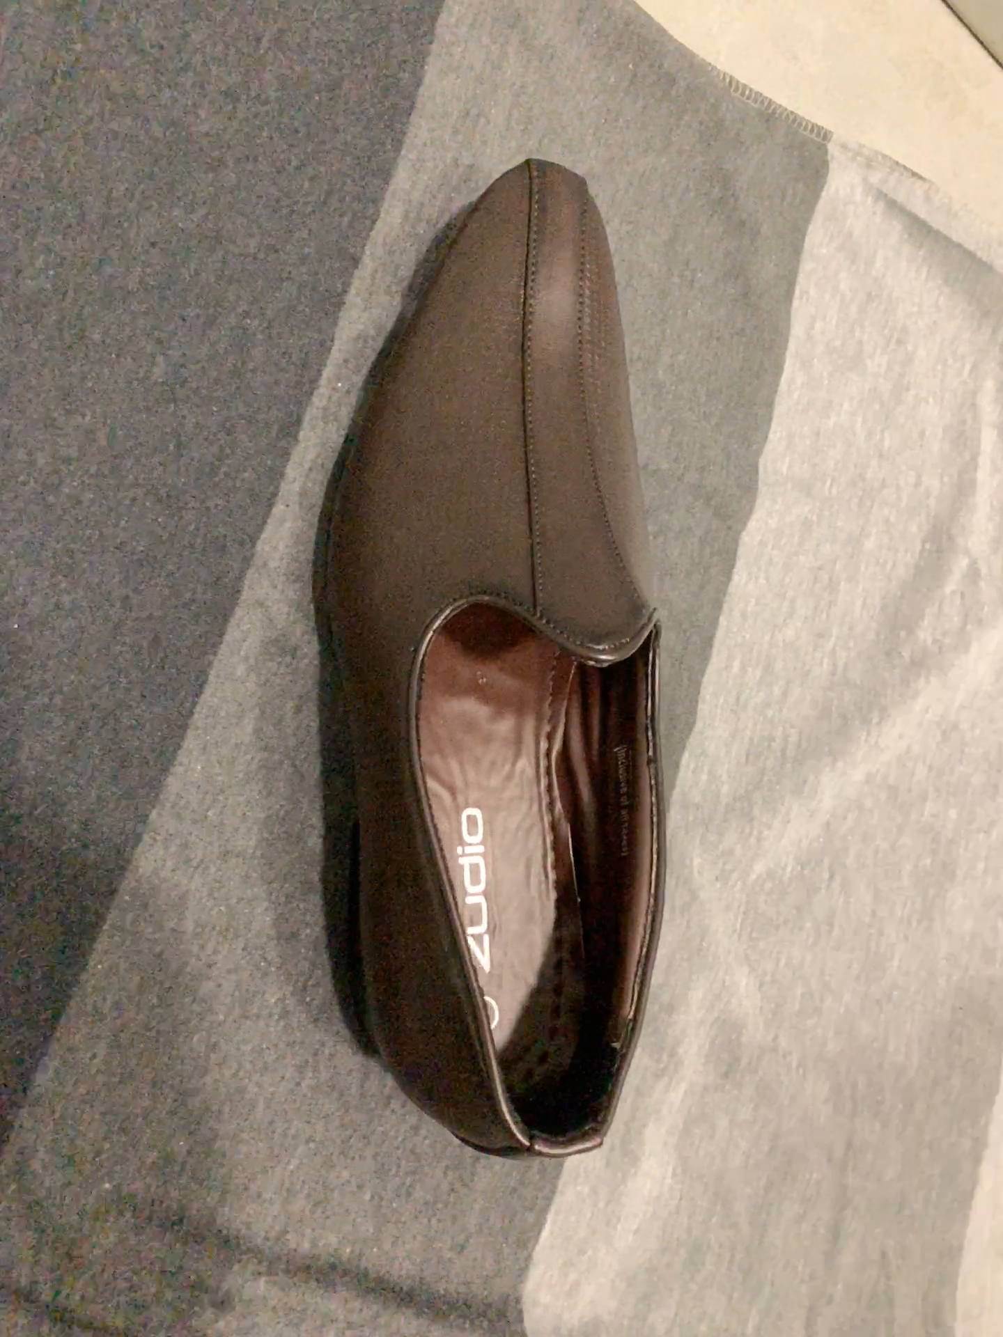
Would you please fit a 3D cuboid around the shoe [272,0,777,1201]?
[{"bbox_3d":[0.003,-0.015,0.292,0.100,0.100,0.270,5,83,-21],"label":"shoe"}]
